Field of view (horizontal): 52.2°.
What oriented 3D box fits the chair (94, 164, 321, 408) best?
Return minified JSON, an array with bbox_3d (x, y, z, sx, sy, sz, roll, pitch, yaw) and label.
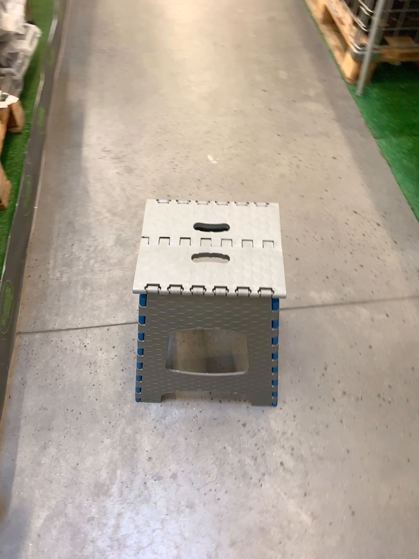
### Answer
[{"bbox_3d":[-0.002,0.034,0.927,0.350,0.419,0.341,2,55,0],"label":"chair"}]
